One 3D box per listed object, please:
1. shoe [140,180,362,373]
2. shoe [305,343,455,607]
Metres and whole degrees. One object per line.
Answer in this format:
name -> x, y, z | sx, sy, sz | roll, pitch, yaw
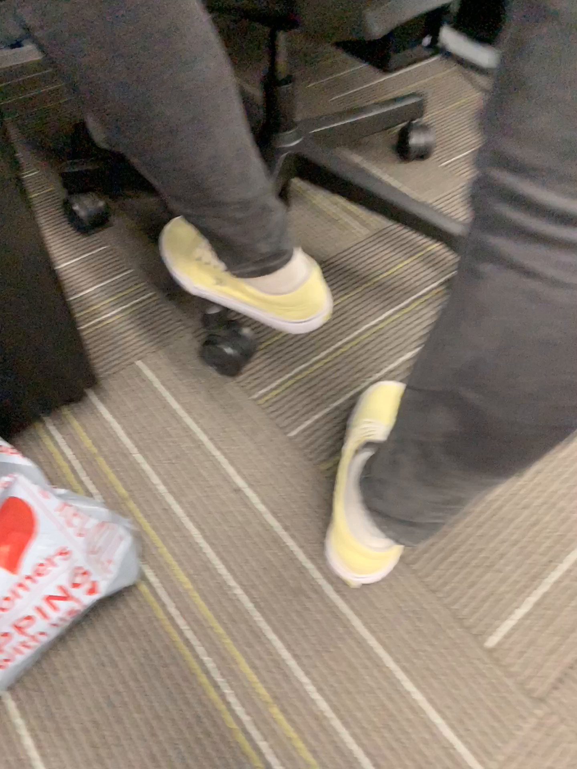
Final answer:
shoe -> -0.049, -0.139, 0.727 | 0.260, 0.096, 0.099 | 33, 58, 22
shoe -> 0.109, 0.093, 0.678 | 0.102, 0.101, 0.269 | 15, 53, 10
